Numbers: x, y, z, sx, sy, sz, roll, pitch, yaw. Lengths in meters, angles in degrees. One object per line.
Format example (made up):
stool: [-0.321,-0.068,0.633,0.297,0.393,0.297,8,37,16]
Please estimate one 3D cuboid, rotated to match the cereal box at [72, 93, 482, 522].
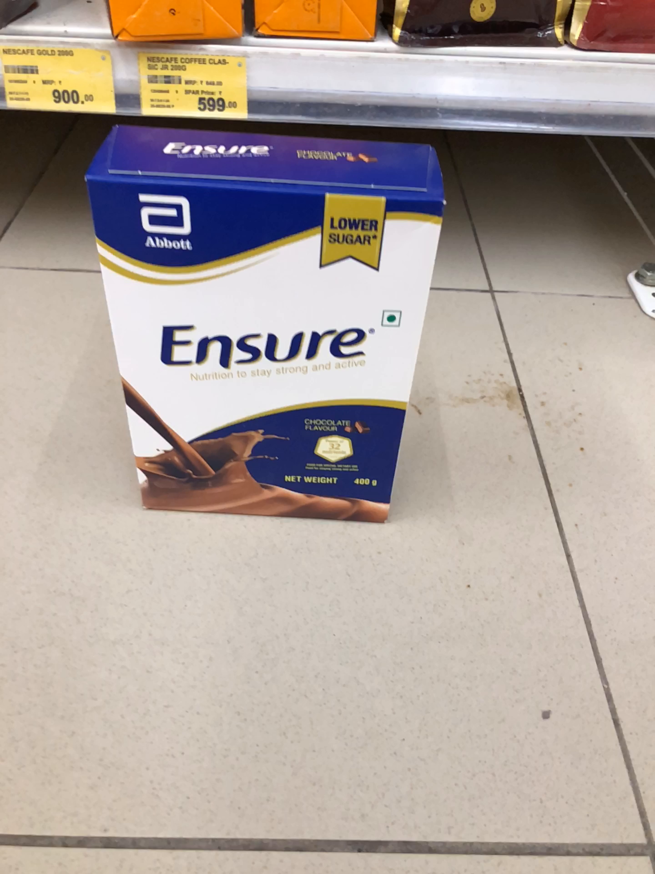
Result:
cereal box: [-0.019,-0.047,0.330,0.140,0.179,0.060,4,44,1]
